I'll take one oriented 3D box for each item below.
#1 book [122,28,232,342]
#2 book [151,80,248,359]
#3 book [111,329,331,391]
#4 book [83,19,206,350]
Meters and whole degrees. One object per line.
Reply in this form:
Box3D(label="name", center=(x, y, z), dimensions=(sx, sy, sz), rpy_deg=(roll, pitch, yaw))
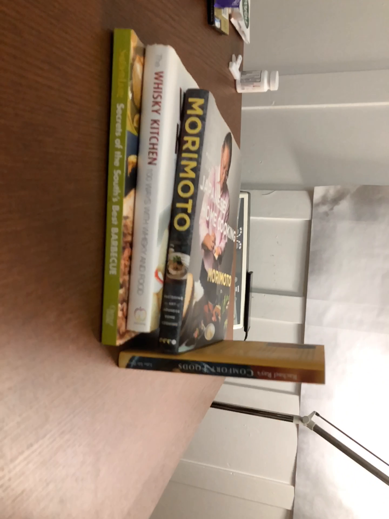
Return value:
Box3D(label="book", center=(-0.008, -0.067, 0.489), dimensions=(0.221, 0.030, 0.280), rpy_deg=(-2, 97, -73))
Box3D(label="book", center=(0.019, -0.035, 0.531), dimensions=(0.221, 0.030, 0.280), rpy_deg=(15, 81, -72))
Box3D(label="book", center=(0.046, 0.109, 0.501), dimensions=(0.211, 0.209, 0.030), rpy_deg=(24, 69, -73))
Box3D(label="book", center=(-0.042, -0.067, 0.472), dimensions=(0.221, 0.030, 0.280), rpy_deg=(-9, 104, -72))
